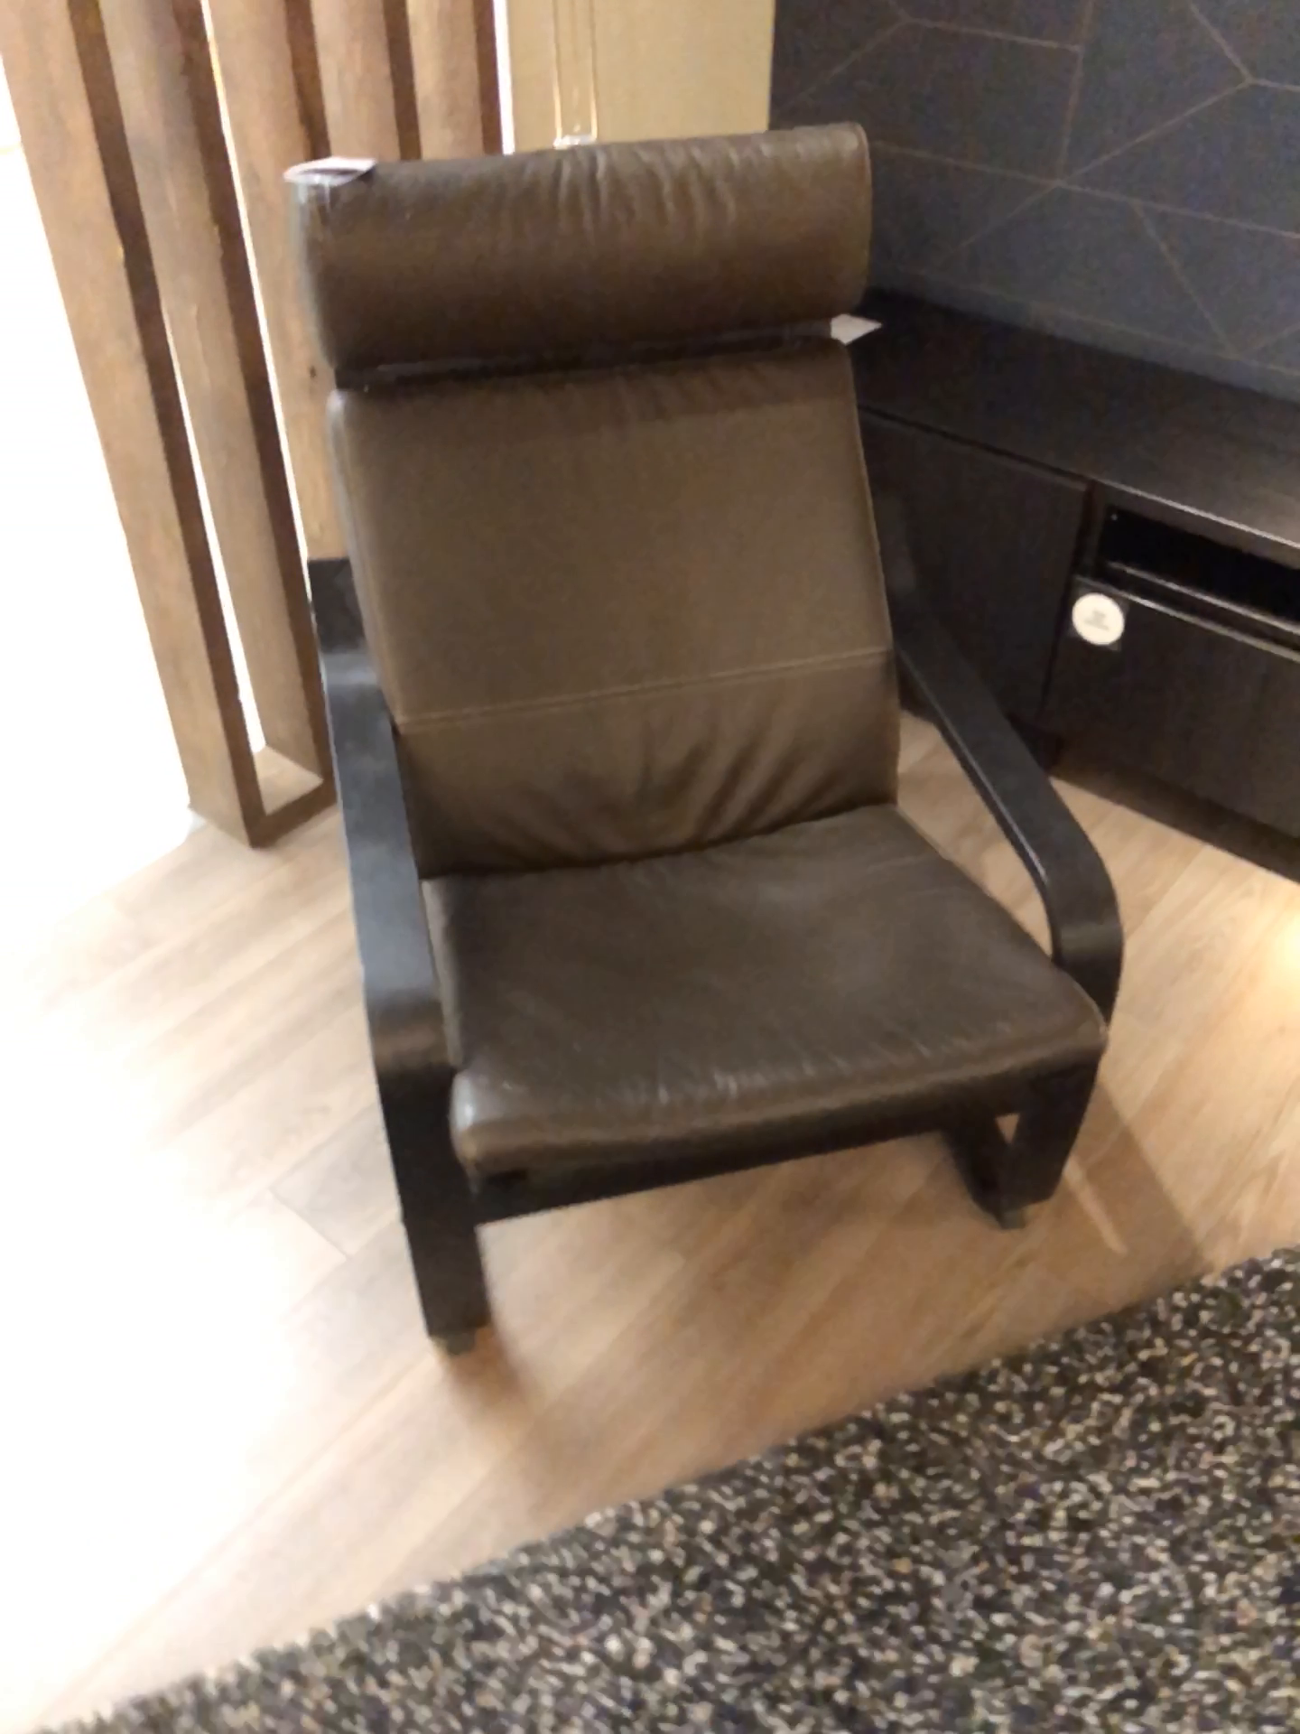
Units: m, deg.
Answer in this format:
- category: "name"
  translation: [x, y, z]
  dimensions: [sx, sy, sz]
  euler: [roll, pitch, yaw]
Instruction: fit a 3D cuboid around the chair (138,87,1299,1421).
- category: "chair"
  translation: [0.027, -0.130, 1.355]
  dimensions: [0.780, 0.877, 0.732]
  euler: [-10, 42, -11]
